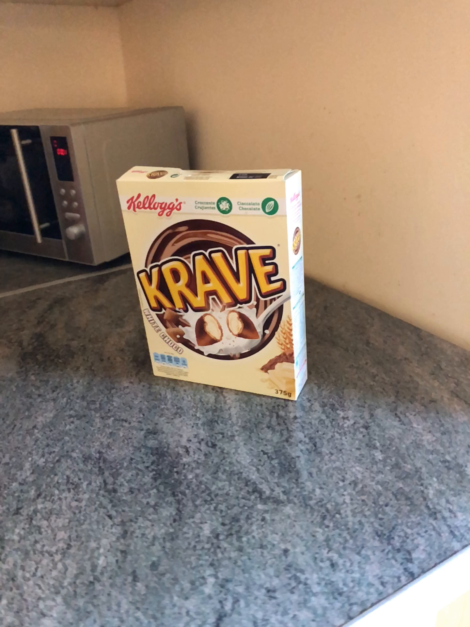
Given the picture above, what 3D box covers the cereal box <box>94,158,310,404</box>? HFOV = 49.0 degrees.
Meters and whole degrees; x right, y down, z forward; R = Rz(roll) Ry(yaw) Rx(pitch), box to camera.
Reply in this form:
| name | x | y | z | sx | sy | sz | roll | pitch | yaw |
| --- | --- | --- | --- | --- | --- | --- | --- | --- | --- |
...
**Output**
| name | x | y | z | sx | sy | sz | roll | pitch | yaw |
| --- | --- | --- | --- | --- | --- | --- | --- | --- | --- |
| cereal box | -0.027 | -0.038 | 0.582 | 0.210 | 0.249 | 0.070 | 7 | 30 | 20 |
